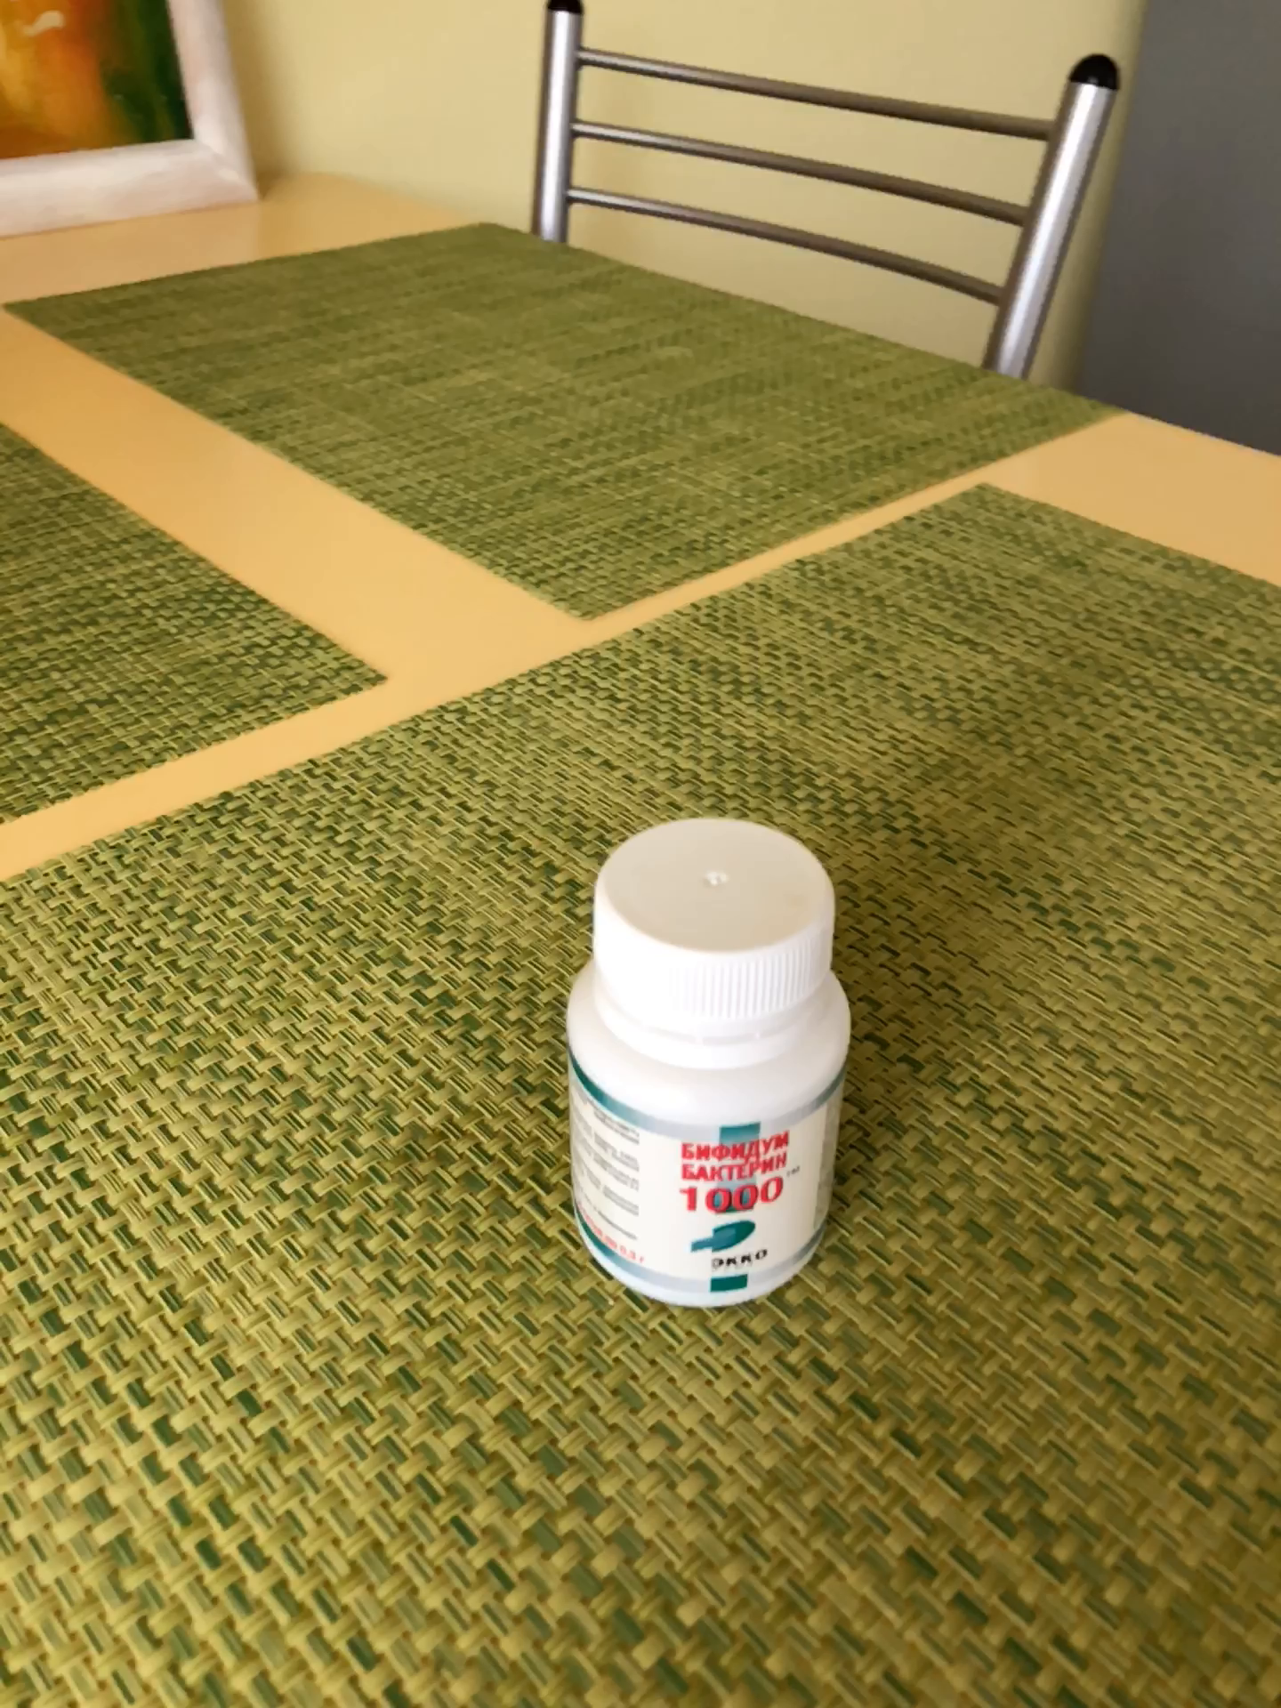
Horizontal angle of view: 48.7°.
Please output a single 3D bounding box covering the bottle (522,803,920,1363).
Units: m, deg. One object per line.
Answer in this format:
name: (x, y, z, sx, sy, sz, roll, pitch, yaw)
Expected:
bottle: (0.008, 0.036, 0.228, 0.050, 0.069, 0.050, 1, 35, -1)
